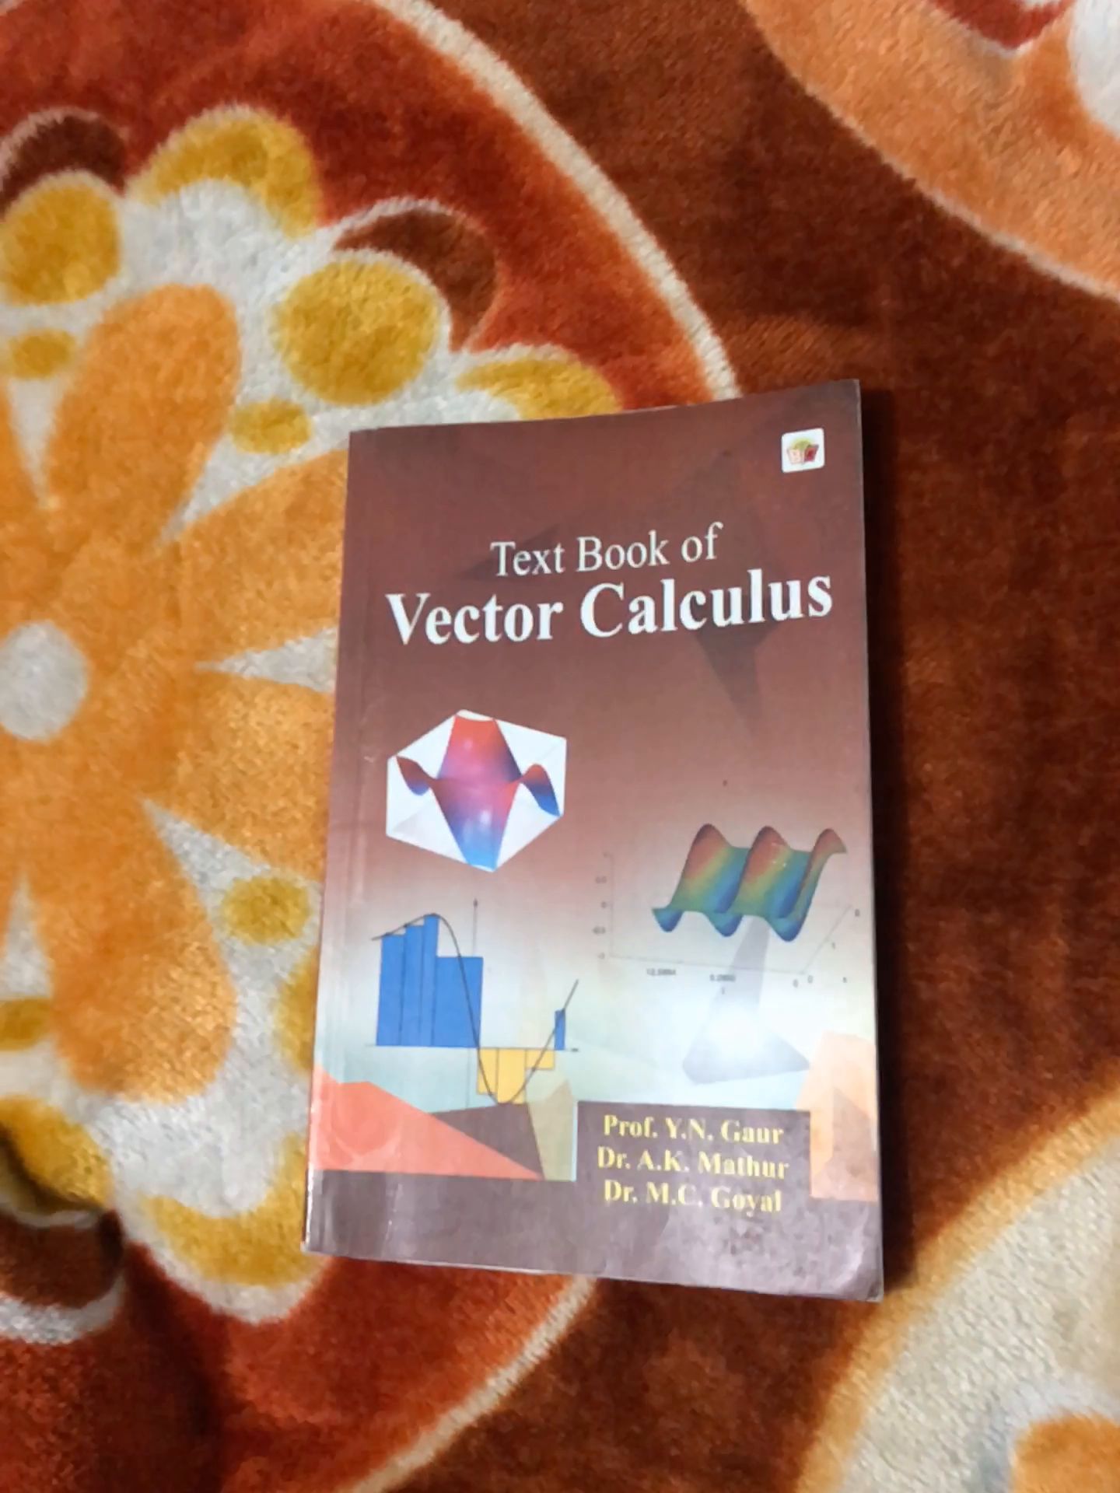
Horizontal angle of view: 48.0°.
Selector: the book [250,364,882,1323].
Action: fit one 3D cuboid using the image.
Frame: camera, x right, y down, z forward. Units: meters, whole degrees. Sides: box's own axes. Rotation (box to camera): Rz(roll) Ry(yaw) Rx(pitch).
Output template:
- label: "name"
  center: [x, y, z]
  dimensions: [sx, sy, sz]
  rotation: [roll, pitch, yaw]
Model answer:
- label: "book"
  center: [0.001, 0.018, 0.302]
  dimensions: [0.140, 0.020, 0.210]
  rotation: [-2, 78, 15]
